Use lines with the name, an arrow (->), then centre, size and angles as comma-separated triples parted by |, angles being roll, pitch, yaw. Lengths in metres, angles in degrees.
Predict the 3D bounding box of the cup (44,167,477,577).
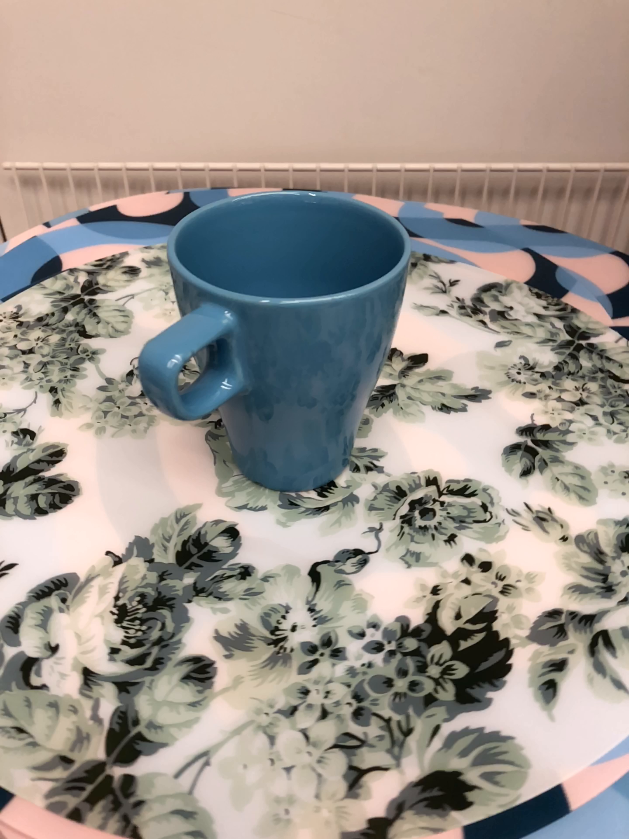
cup -> -0.011, -0.028, 0.255 | 0.090, 0.080, 0.120 | 20, 42, 25
